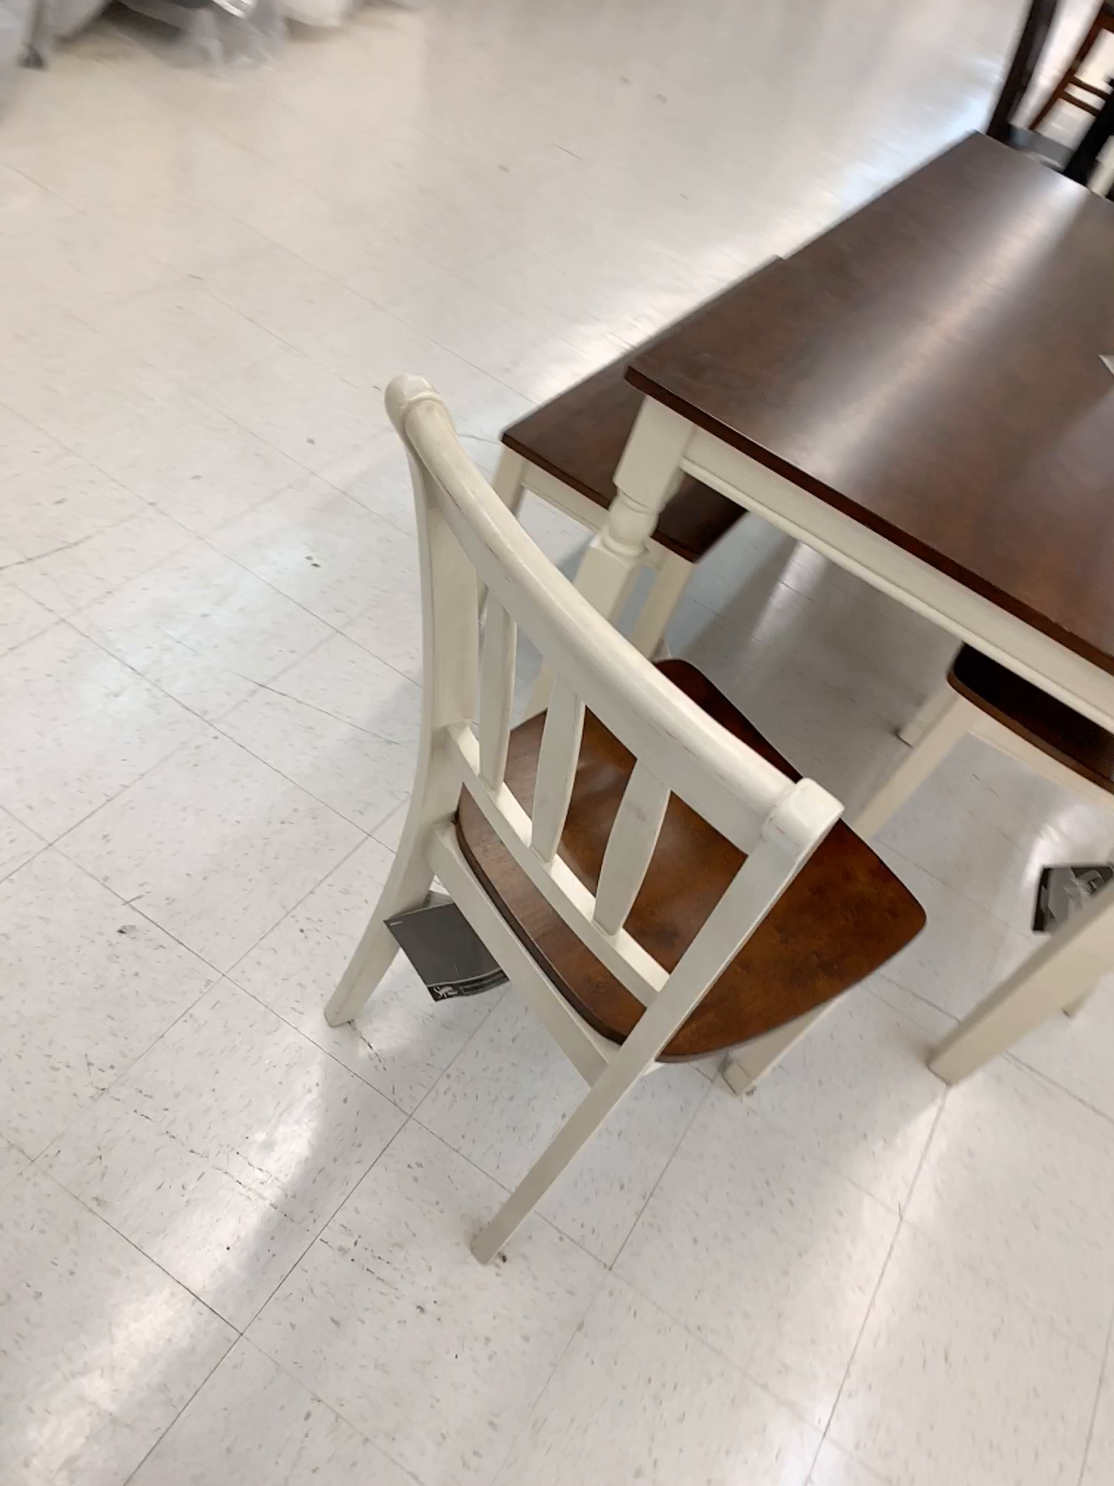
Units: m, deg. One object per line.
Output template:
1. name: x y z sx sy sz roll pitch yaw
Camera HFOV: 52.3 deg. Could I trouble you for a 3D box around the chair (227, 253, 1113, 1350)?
1. chair: 0.084 0.087 1.172 0.572 0.905 0.531 -24 62 -36
